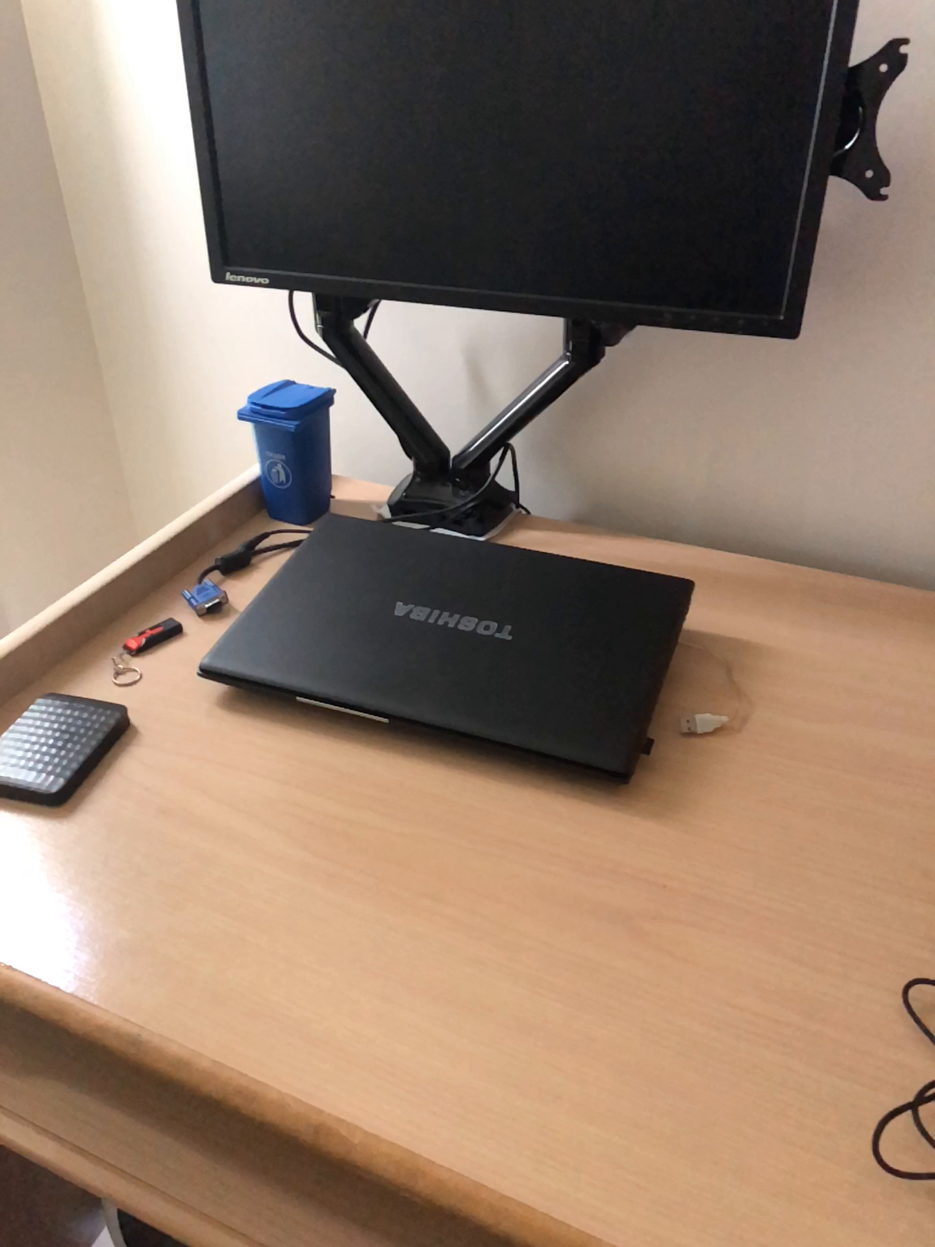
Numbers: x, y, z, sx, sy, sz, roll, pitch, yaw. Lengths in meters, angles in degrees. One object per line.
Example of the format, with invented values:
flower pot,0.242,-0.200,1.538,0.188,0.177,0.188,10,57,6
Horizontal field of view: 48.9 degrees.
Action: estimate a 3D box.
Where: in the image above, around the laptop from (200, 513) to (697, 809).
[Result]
laptop,-0.009,0.013,0.930,0.380,0.029,0.258,12,42,18
